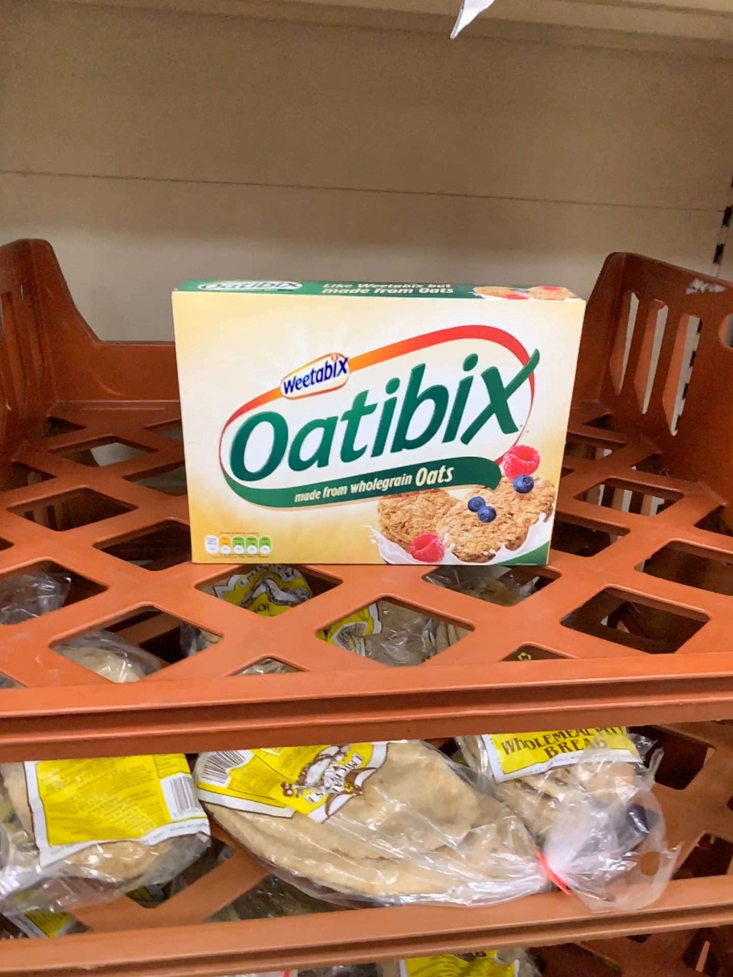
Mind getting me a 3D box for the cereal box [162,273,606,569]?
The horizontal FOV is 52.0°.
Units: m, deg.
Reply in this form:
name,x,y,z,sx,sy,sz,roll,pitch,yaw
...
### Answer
name,x,y,z,sx,sy,sz,roll,pitch,yaw
cereal box,0.007,-0.044,0.505,0.260,0.179,0.071,1,23,-3
